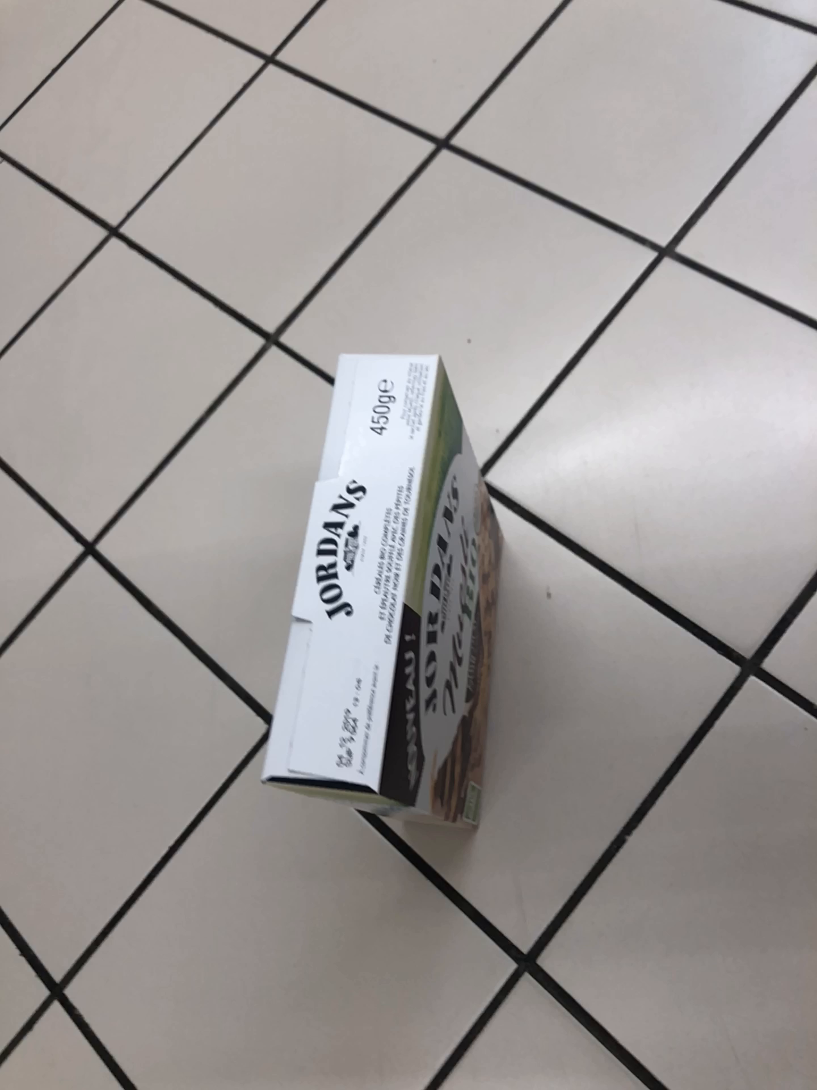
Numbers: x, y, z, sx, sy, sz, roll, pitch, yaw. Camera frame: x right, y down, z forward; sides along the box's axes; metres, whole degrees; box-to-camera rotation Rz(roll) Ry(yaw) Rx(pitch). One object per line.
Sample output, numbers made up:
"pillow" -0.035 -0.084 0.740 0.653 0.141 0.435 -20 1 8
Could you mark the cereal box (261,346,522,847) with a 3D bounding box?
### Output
"cereal box" 0.009 0.042 0.447 0.050 0.210 0.190 1 70 16
